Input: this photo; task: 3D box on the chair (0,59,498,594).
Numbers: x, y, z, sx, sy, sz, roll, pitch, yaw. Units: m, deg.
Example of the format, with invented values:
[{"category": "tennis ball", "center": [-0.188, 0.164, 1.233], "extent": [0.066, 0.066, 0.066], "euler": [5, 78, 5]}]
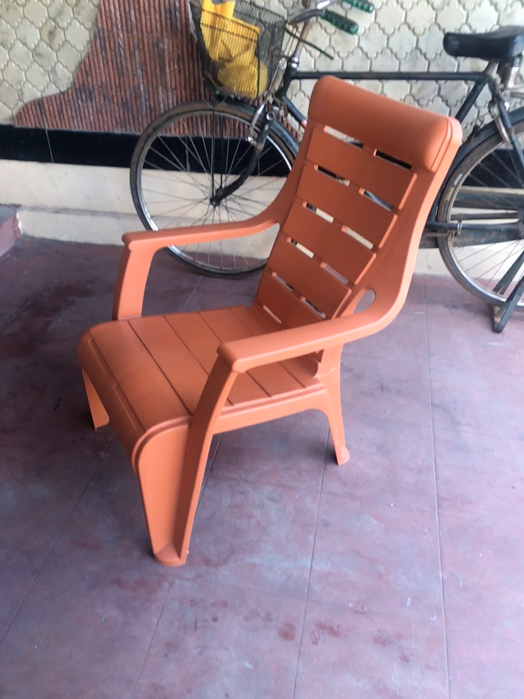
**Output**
[{"category": "chair", "center": [-0.097, -0.126, 1.297], "extent": [0.762, 0.786, 0.692], "euler": [-19, 40, -23]}]
